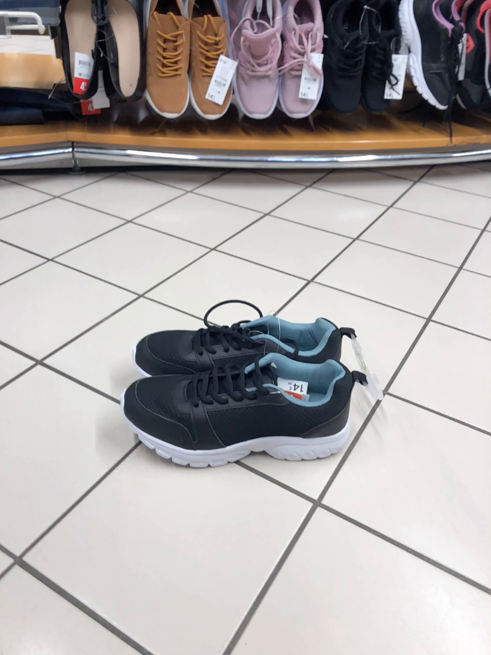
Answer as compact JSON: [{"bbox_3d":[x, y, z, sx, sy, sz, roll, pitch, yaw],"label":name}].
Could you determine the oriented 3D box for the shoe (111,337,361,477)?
[{"bbox_3d":[-0.012,0.087,0.591,0.240,0.109,0.101,1,35,-3],"label":"shoe"}]

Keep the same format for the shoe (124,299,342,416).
[{"bbox_3d":[-0.016,0.035,0.663,0.240,0.099,0.101,1,31,-3],"label":"shoe"}]
